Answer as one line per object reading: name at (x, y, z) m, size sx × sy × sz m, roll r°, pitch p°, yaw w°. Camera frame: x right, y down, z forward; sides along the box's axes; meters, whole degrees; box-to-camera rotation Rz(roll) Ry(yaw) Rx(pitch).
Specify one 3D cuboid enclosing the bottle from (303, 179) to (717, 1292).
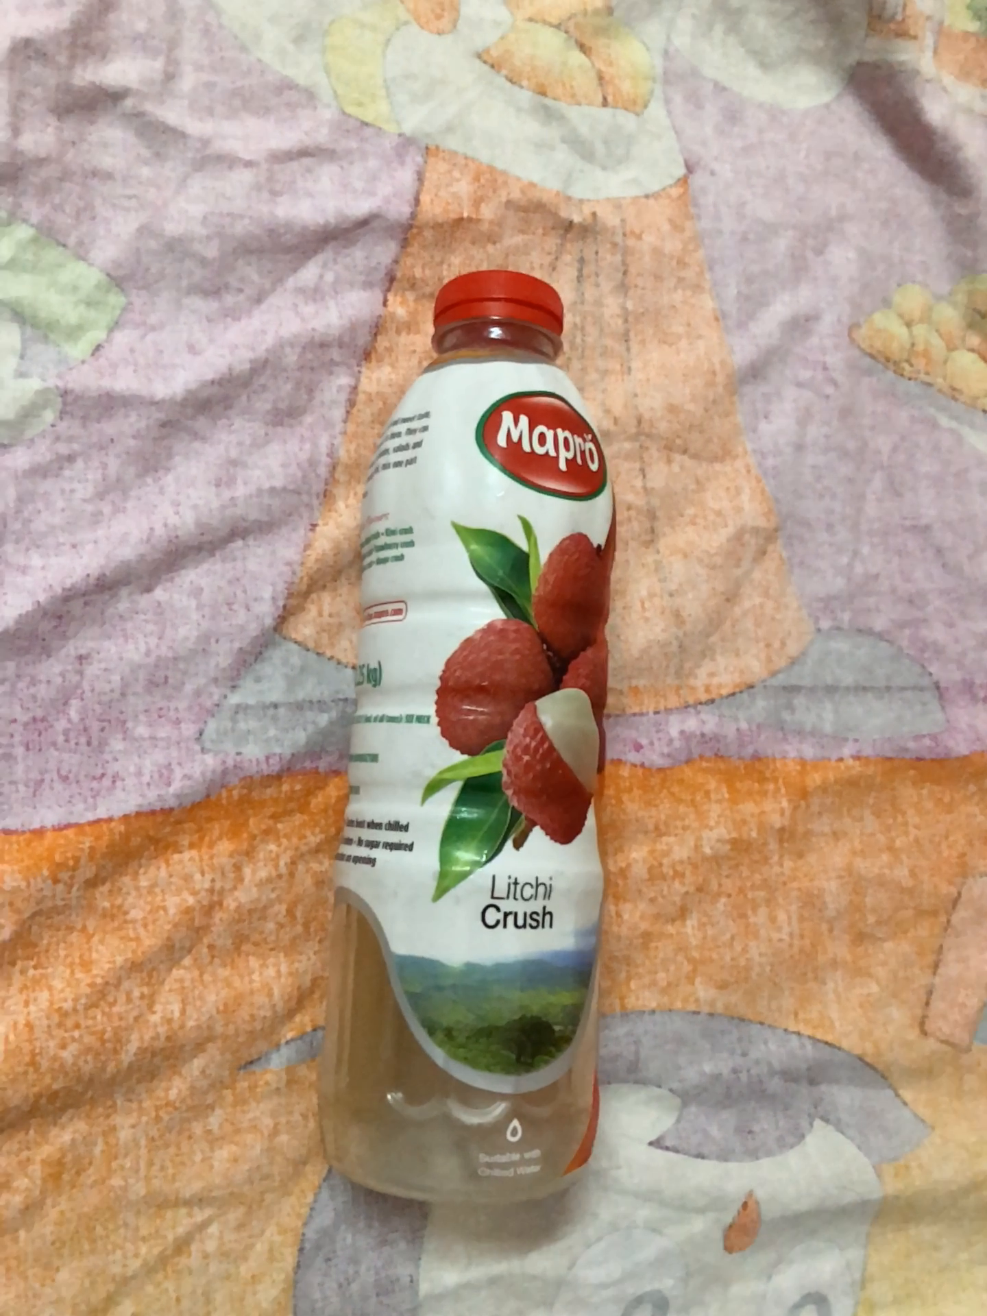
bottle at (0.005, 0.017, 0.302) m, size 0.080 × 0.070 × 0.260 m, roll 6°, pitch 82°, yaw -22°
